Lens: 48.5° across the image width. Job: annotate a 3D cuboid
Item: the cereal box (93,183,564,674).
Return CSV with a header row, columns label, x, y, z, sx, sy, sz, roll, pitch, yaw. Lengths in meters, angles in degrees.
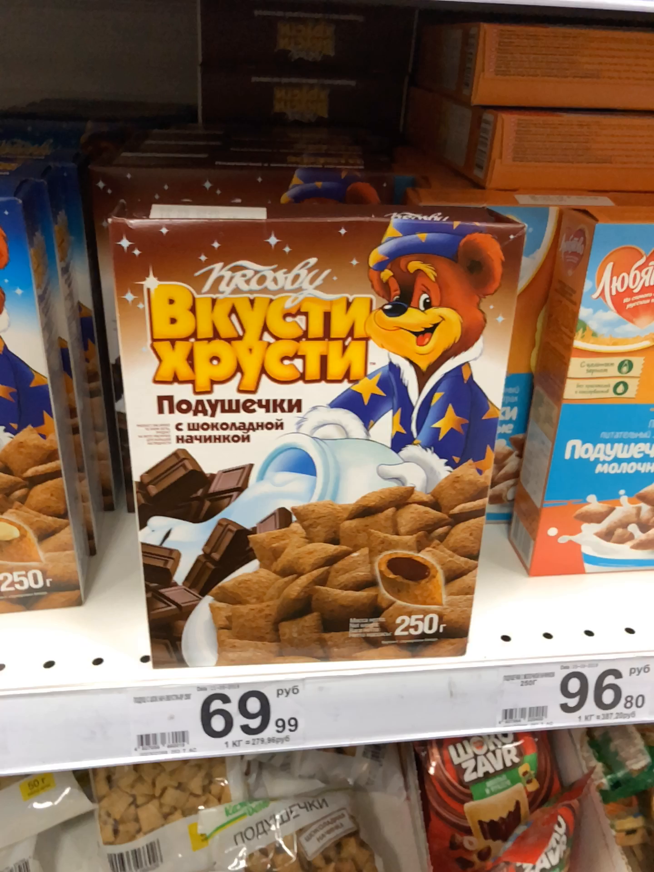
label,x,y,z,sx,sy,sz,roll,pitch,yaw
cereal box,-0.003,0.005,0.348,0.180,0.229,0.050,0,26,-6
